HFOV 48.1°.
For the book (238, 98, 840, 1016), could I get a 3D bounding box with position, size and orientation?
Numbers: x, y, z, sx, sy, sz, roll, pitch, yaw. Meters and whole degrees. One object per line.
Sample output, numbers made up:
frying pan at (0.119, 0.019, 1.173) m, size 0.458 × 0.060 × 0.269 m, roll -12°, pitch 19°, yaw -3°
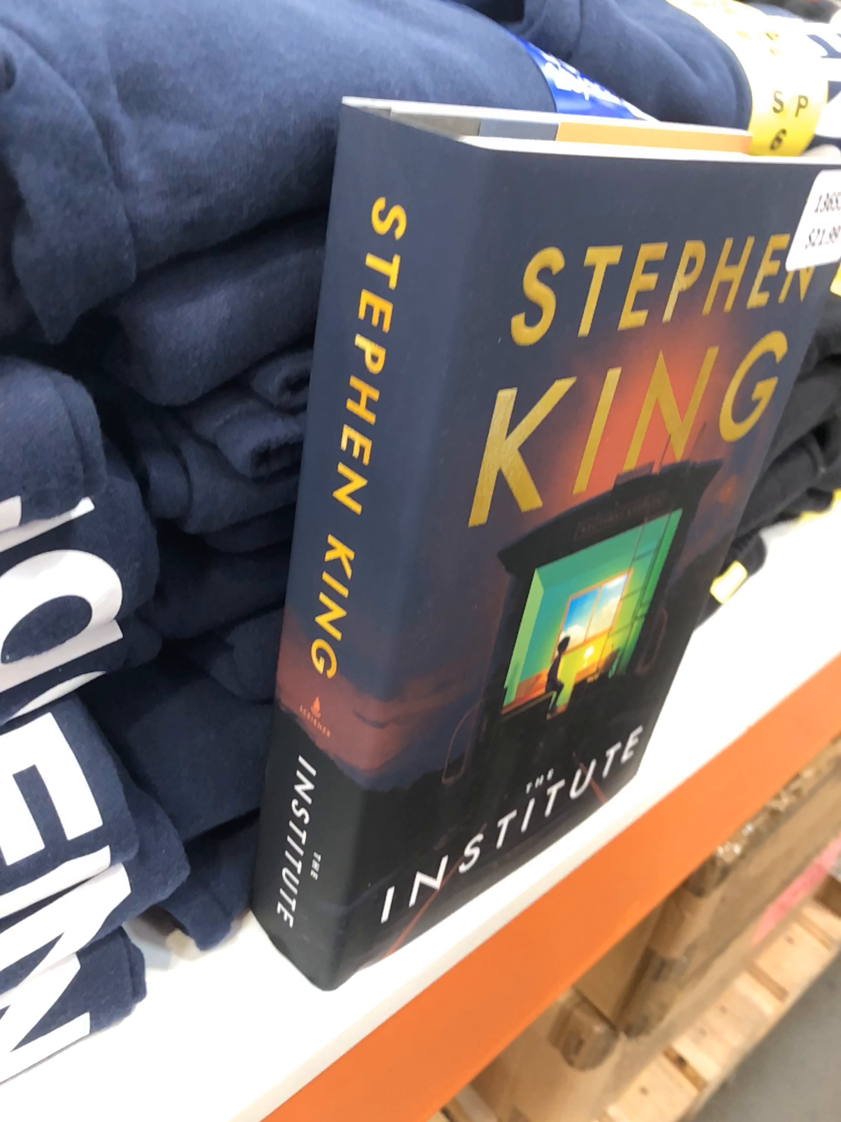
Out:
book at (0.037, -0.002, 0.278) m, size 0.167 × 0.229 × 0.050 m, roll -20°, pitch 41°, yaw -41°
